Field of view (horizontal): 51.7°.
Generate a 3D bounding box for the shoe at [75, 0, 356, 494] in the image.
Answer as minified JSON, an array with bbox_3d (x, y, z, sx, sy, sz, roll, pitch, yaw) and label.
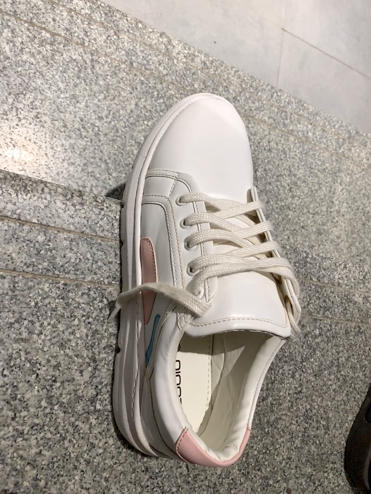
[{"bbox_3d":[0.018,0.018,0.257,0.110,0.110,0.290,11,83,-26],"label":"shoe"}]
